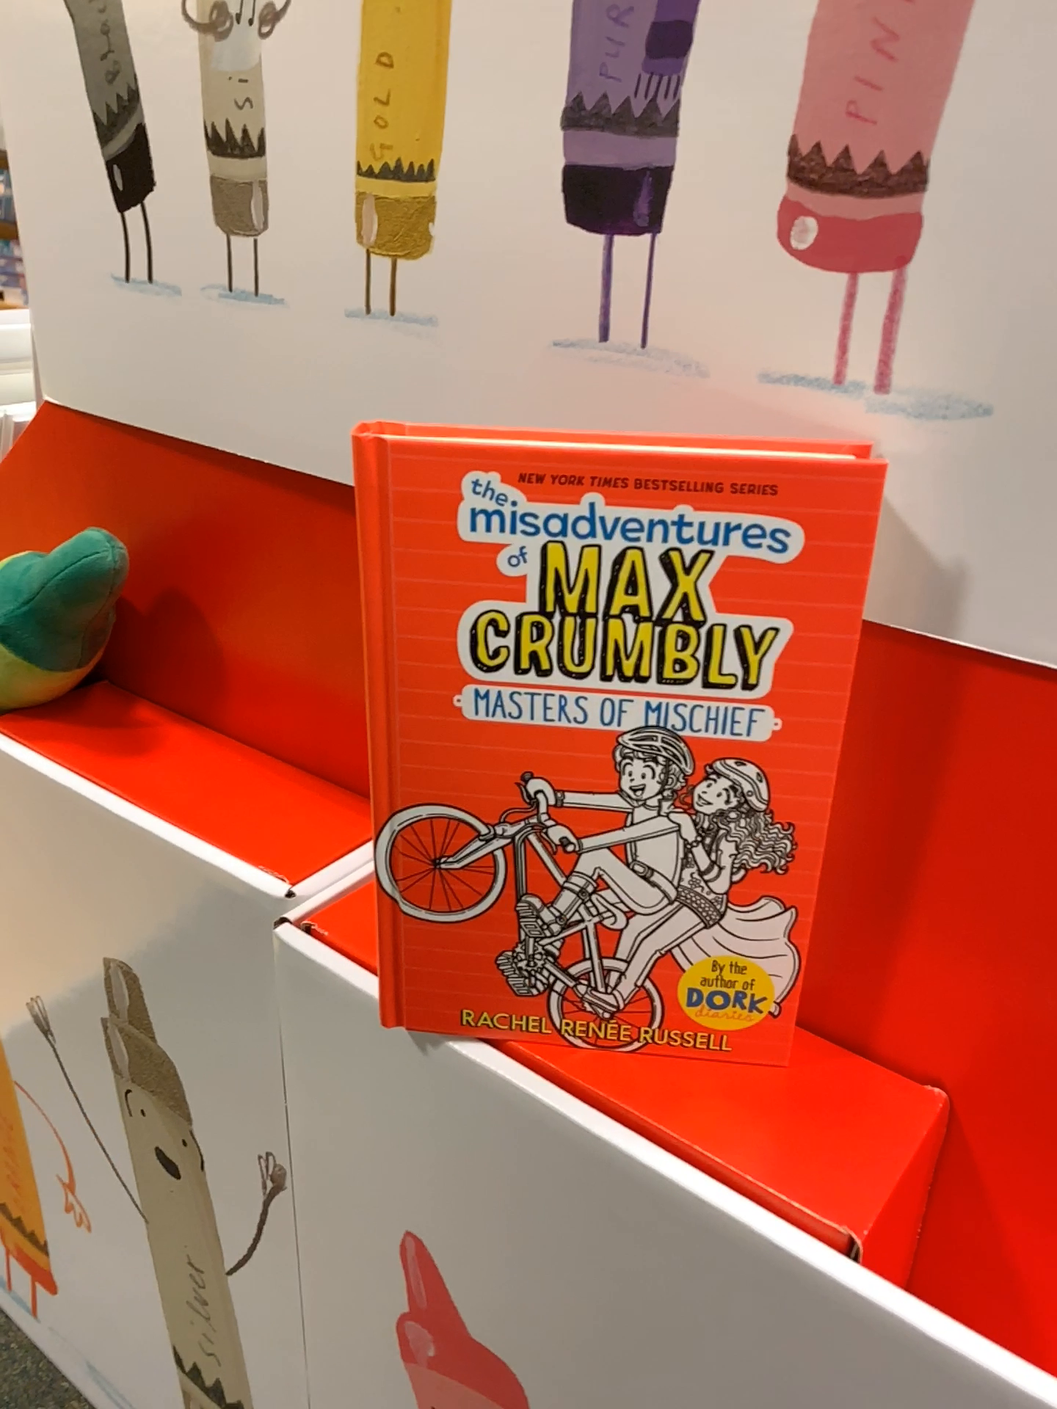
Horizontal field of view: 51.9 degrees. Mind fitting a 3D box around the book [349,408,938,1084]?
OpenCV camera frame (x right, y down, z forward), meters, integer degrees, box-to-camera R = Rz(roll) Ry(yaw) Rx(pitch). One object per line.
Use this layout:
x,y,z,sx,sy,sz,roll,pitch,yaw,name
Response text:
0.024,0.022,0.321,0.142,0.201,0.031,3,27,1,book
